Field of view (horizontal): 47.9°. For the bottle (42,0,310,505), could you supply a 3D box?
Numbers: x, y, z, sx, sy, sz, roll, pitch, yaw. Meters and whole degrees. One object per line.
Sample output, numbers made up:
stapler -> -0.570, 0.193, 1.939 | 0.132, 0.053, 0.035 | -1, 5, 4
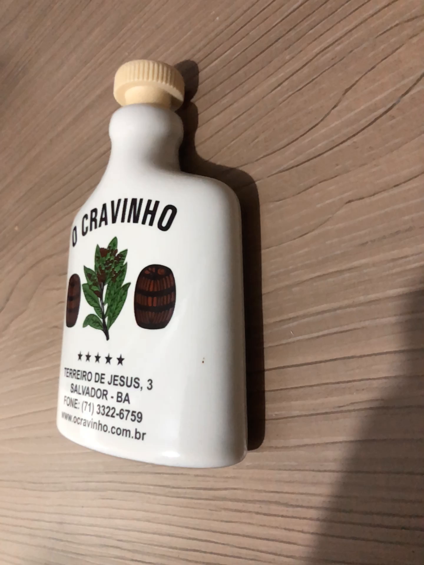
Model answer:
bottle -> -0.018, -0.018, 0.180 | 0.101, 0.040, 0.160 | -5, 82, 44
